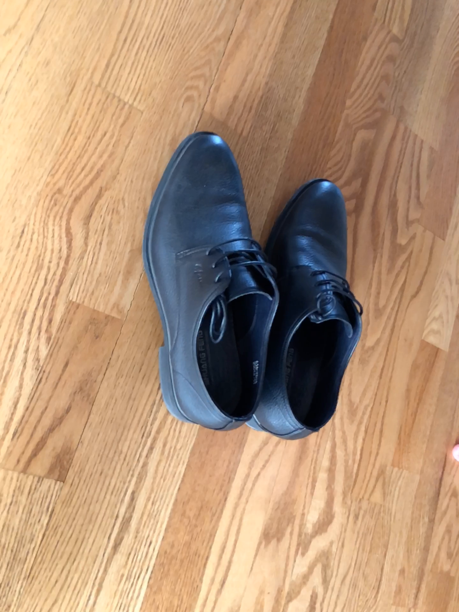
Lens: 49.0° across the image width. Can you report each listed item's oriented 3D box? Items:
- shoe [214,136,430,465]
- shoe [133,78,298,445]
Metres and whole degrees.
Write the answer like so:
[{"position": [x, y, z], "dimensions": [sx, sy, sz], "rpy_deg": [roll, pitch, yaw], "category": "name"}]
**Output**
[{"position": [0.101, -0.004, 0.541], "dimensions": [0.110, 0.124, 0.299], "rpy_deg": [23, 75, -26], "category": "shoe"}, {"position": [-0.016, -0.034, 0.493], "dimensions": [0.110, 0.124, 0.304], "rpy_deg": [4, 84, -29], "category": "shoe"}]
